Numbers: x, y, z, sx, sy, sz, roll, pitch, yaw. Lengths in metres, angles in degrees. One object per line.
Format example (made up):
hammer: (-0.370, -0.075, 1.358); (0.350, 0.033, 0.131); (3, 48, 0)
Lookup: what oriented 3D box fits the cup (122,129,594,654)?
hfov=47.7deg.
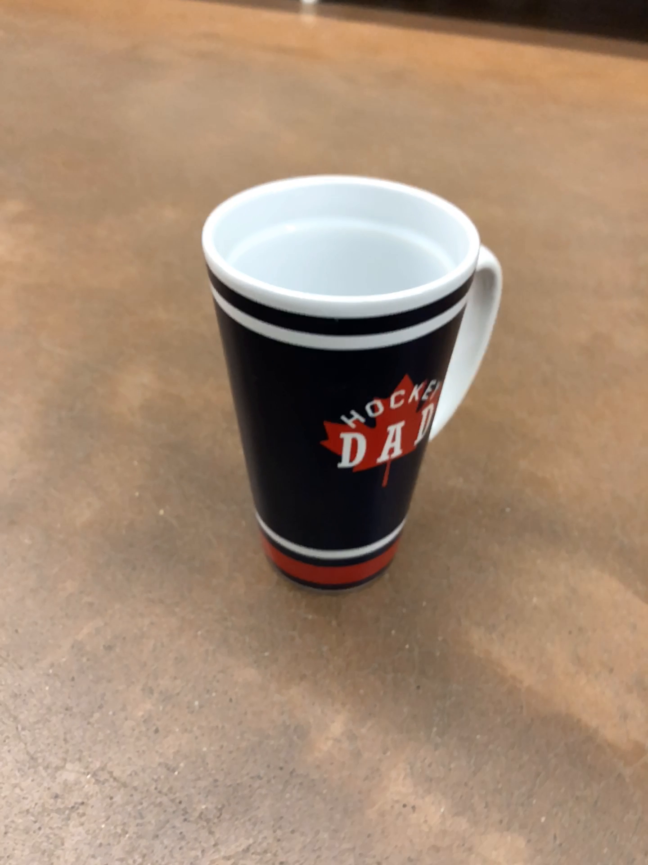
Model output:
cup: (0.015, -0.022, 0.278); (0.090, 0.130, 0.130); (30, 48, 29)
